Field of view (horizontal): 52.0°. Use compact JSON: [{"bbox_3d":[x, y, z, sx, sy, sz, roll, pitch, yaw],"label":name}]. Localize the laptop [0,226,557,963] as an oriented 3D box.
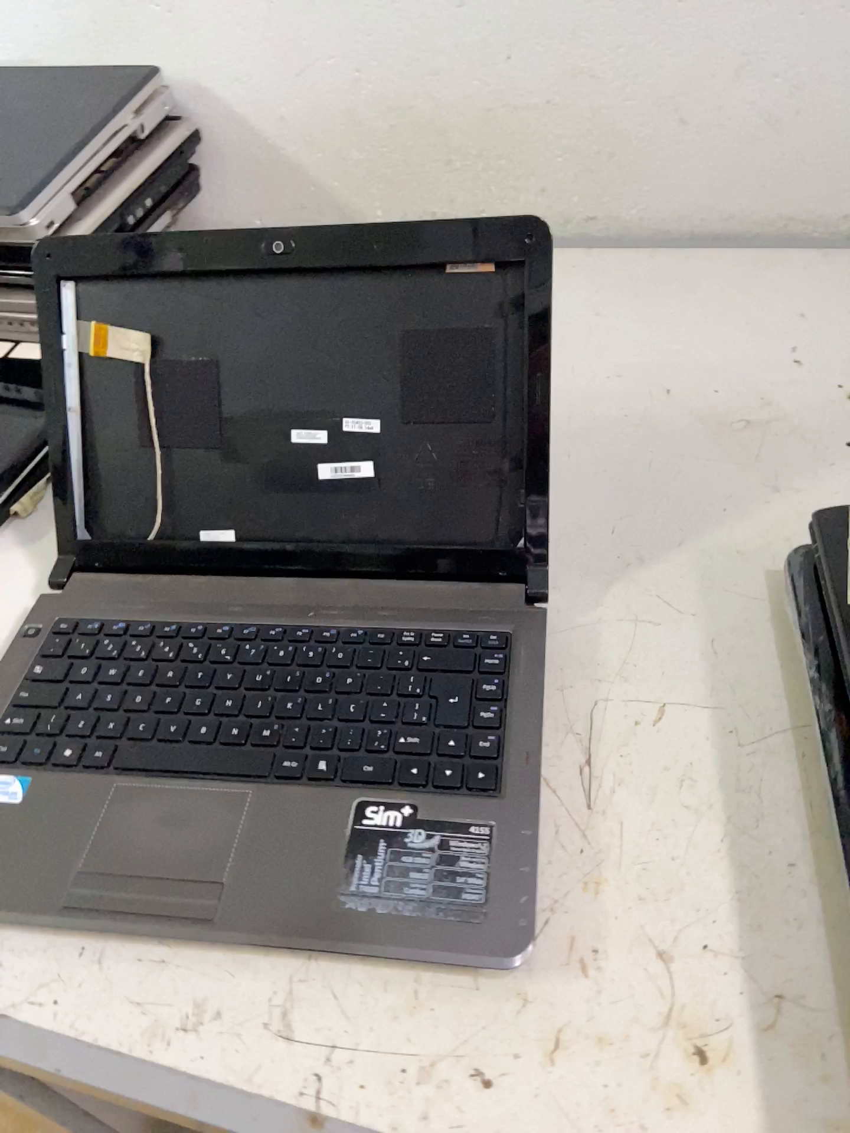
[{"bbox_3d":[-0.106,-0.015,0.492,0.342,0.174,0.367,1,46,10],"label":"laptop"}]
